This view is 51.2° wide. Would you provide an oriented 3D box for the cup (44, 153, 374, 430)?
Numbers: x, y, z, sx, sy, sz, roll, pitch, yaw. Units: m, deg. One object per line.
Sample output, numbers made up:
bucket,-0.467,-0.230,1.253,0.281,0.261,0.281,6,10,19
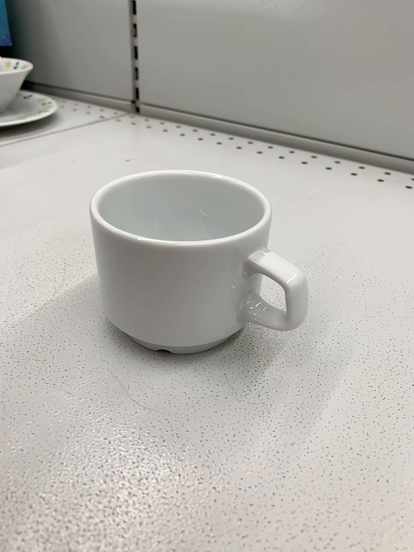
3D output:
cup,0.001,-0.006,0.189,0.105,0.056,0.082,24,38,29
